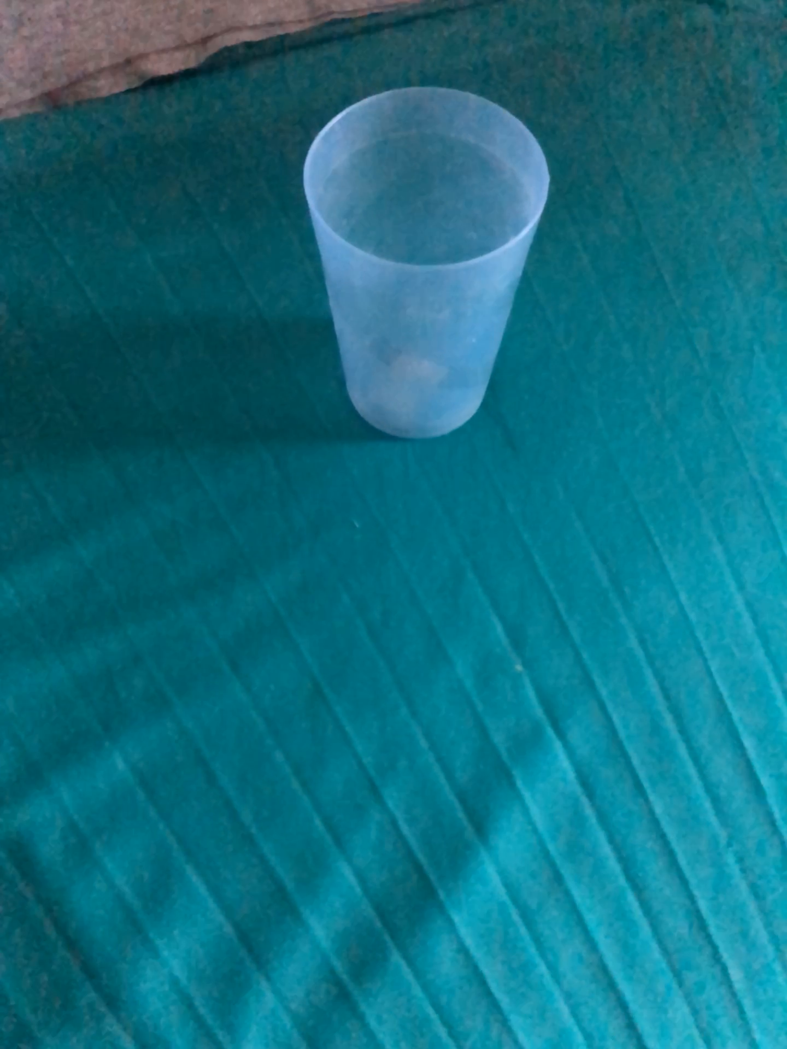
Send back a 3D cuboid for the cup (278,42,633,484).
[{"bbox_3d":[0.013,-0.077,0.288,0.078,0.119,0.066,-15,69,-8],"label":"cup"}]
